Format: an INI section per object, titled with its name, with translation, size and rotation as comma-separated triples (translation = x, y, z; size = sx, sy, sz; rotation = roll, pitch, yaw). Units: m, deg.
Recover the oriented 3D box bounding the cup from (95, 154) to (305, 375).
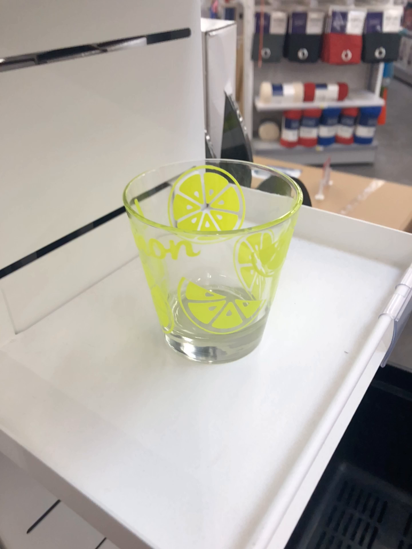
[cup]
translation = 0.005, -0.010, 0.232
size = 0.084, 0.075, 0.080
rotation = -1, 33, 1
